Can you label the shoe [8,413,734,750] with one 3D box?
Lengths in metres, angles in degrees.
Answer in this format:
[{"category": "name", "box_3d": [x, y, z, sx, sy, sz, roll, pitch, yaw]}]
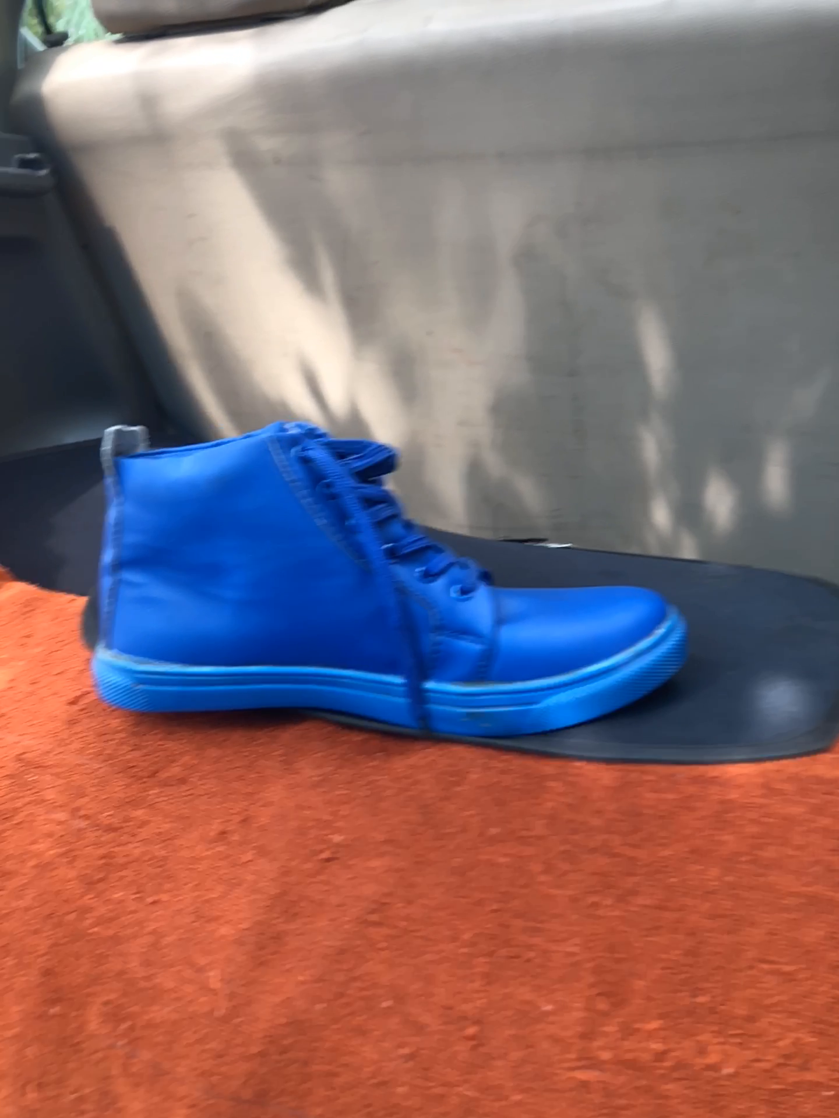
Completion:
[{"category": "shoe", "box_3d": [-0.017, 0.000, 0.456, 0.300, 0.120, 0.131, 1, 19, 7]}]
